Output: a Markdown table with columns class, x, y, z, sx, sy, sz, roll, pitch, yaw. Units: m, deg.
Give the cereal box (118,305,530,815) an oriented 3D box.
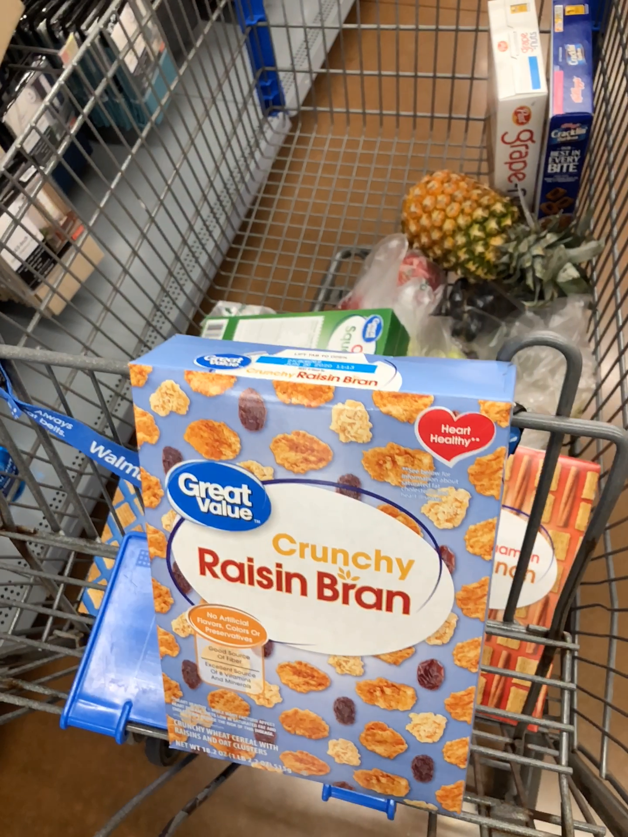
| class | x | y | z | sx | sy | sz | roll | pitch | yaw |
| --- | --- | --- | --- | --- | --- | --- | --- | --- | --- |
| cereal box | 0.004 | 0.085 | 0.415 | 0.200 | 0.280 | 0.070 | 6 | 23 | 12 |
